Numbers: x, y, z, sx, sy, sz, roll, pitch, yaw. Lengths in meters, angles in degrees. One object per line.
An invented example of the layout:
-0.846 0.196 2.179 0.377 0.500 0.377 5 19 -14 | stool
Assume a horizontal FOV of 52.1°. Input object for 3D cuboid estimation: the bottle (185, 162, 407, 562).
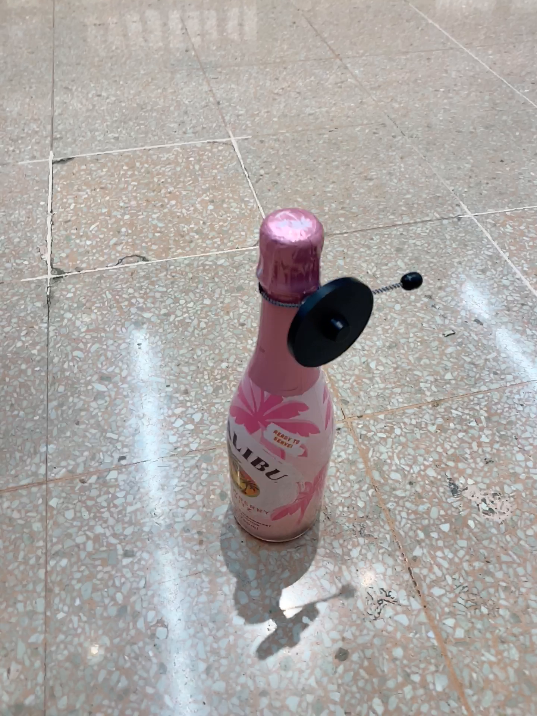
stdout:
0.009 0.032 0.390 0.080 0.307 0.081 1 49 -1 | bottle
